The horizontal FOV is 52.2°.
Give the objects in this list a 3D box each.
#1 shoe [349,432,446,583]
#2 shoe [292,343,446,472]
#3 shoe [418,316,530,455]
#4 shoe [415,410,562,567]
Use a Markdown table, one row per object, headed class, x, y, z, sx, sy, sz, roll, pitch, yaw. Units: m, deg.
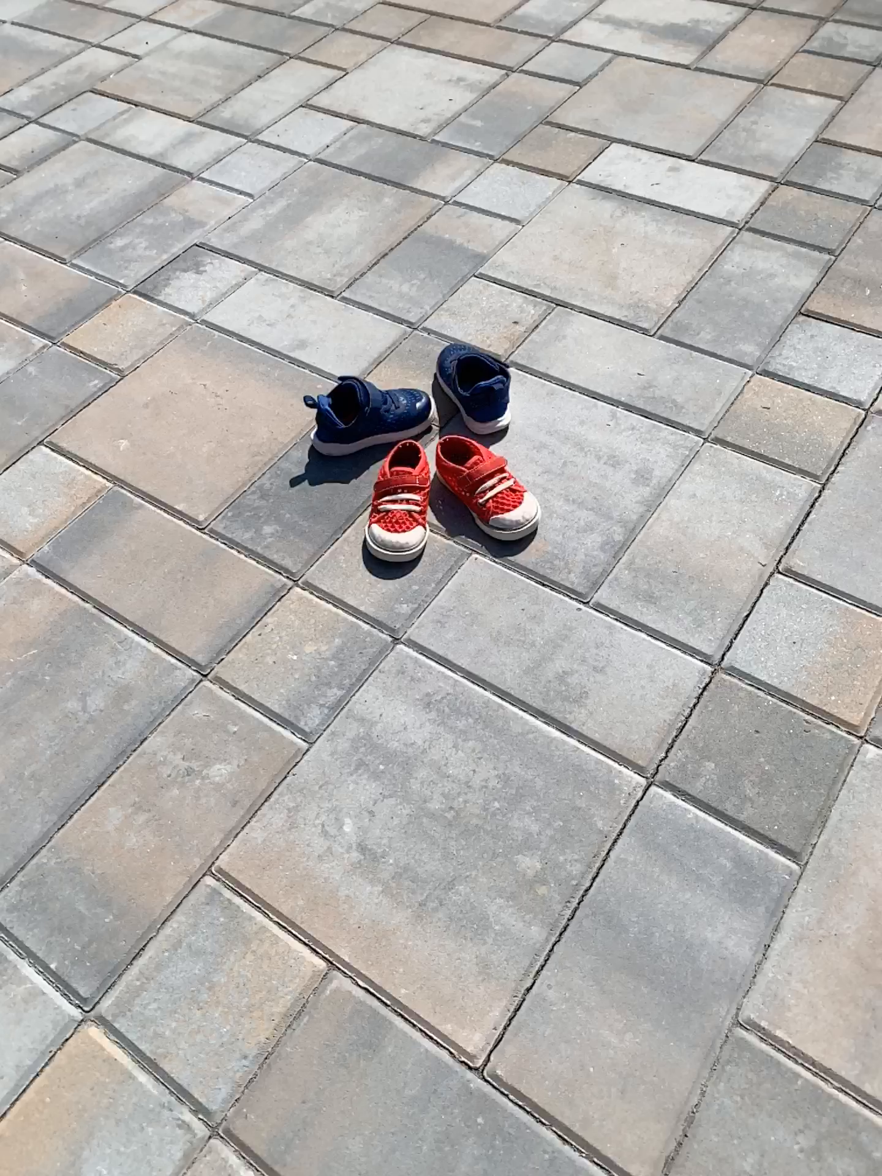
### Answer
| class | x | y | z | sx | sy | sz | roll | pitch | yaw |
| --- | --- | --- | --- | --- | --- | --- | --- | --- | --- |
| shoe | -0.046 | -0.094 | 1.029 | 0.080 | 0.070 | 0.160 | 4 | 54 | 7 |
| shoe | -0.086 | -0.219 | 1.093 | 0.160 | 0.080 | 0.080 | -19 | 55 | -10 |
| shoe | 0.040 | -0.256 | 1.127 | 0.080 | 0.070 | 0.161 | -20 | 55 | -10 |
| shoe | 0.052 | -0.115 | 1.019 | 0.080 | 0.070 | 0.161 | -32 | 58 | -18 |
